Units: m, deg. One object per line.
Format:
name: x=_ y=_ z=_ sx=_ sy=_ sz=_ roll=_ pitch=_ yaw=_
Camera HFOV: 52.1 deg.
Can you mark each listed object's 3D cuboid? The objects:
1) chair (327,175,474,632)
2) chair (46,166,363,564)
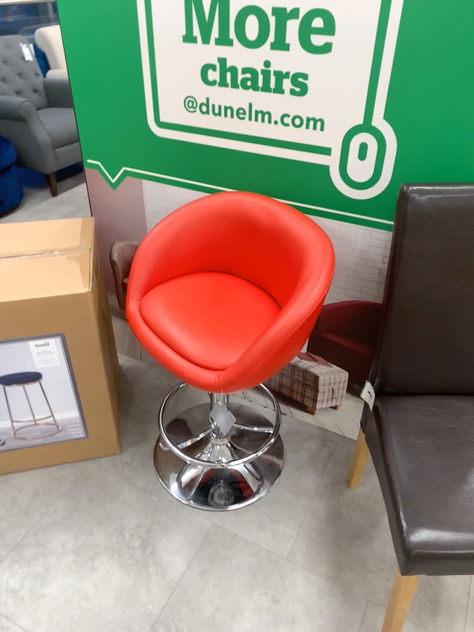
chair: x=0.500 y=0.253 z=1.004 sx=0.444 sy=0.919 sz=0.522 roll=0 pitch=35 yaw=0
chair: x=-0.080 y=0.101 z=1.263 sx=0.479 sy=0.761 sz=0.497 roll=-27 pitch=43 yaw=-33
